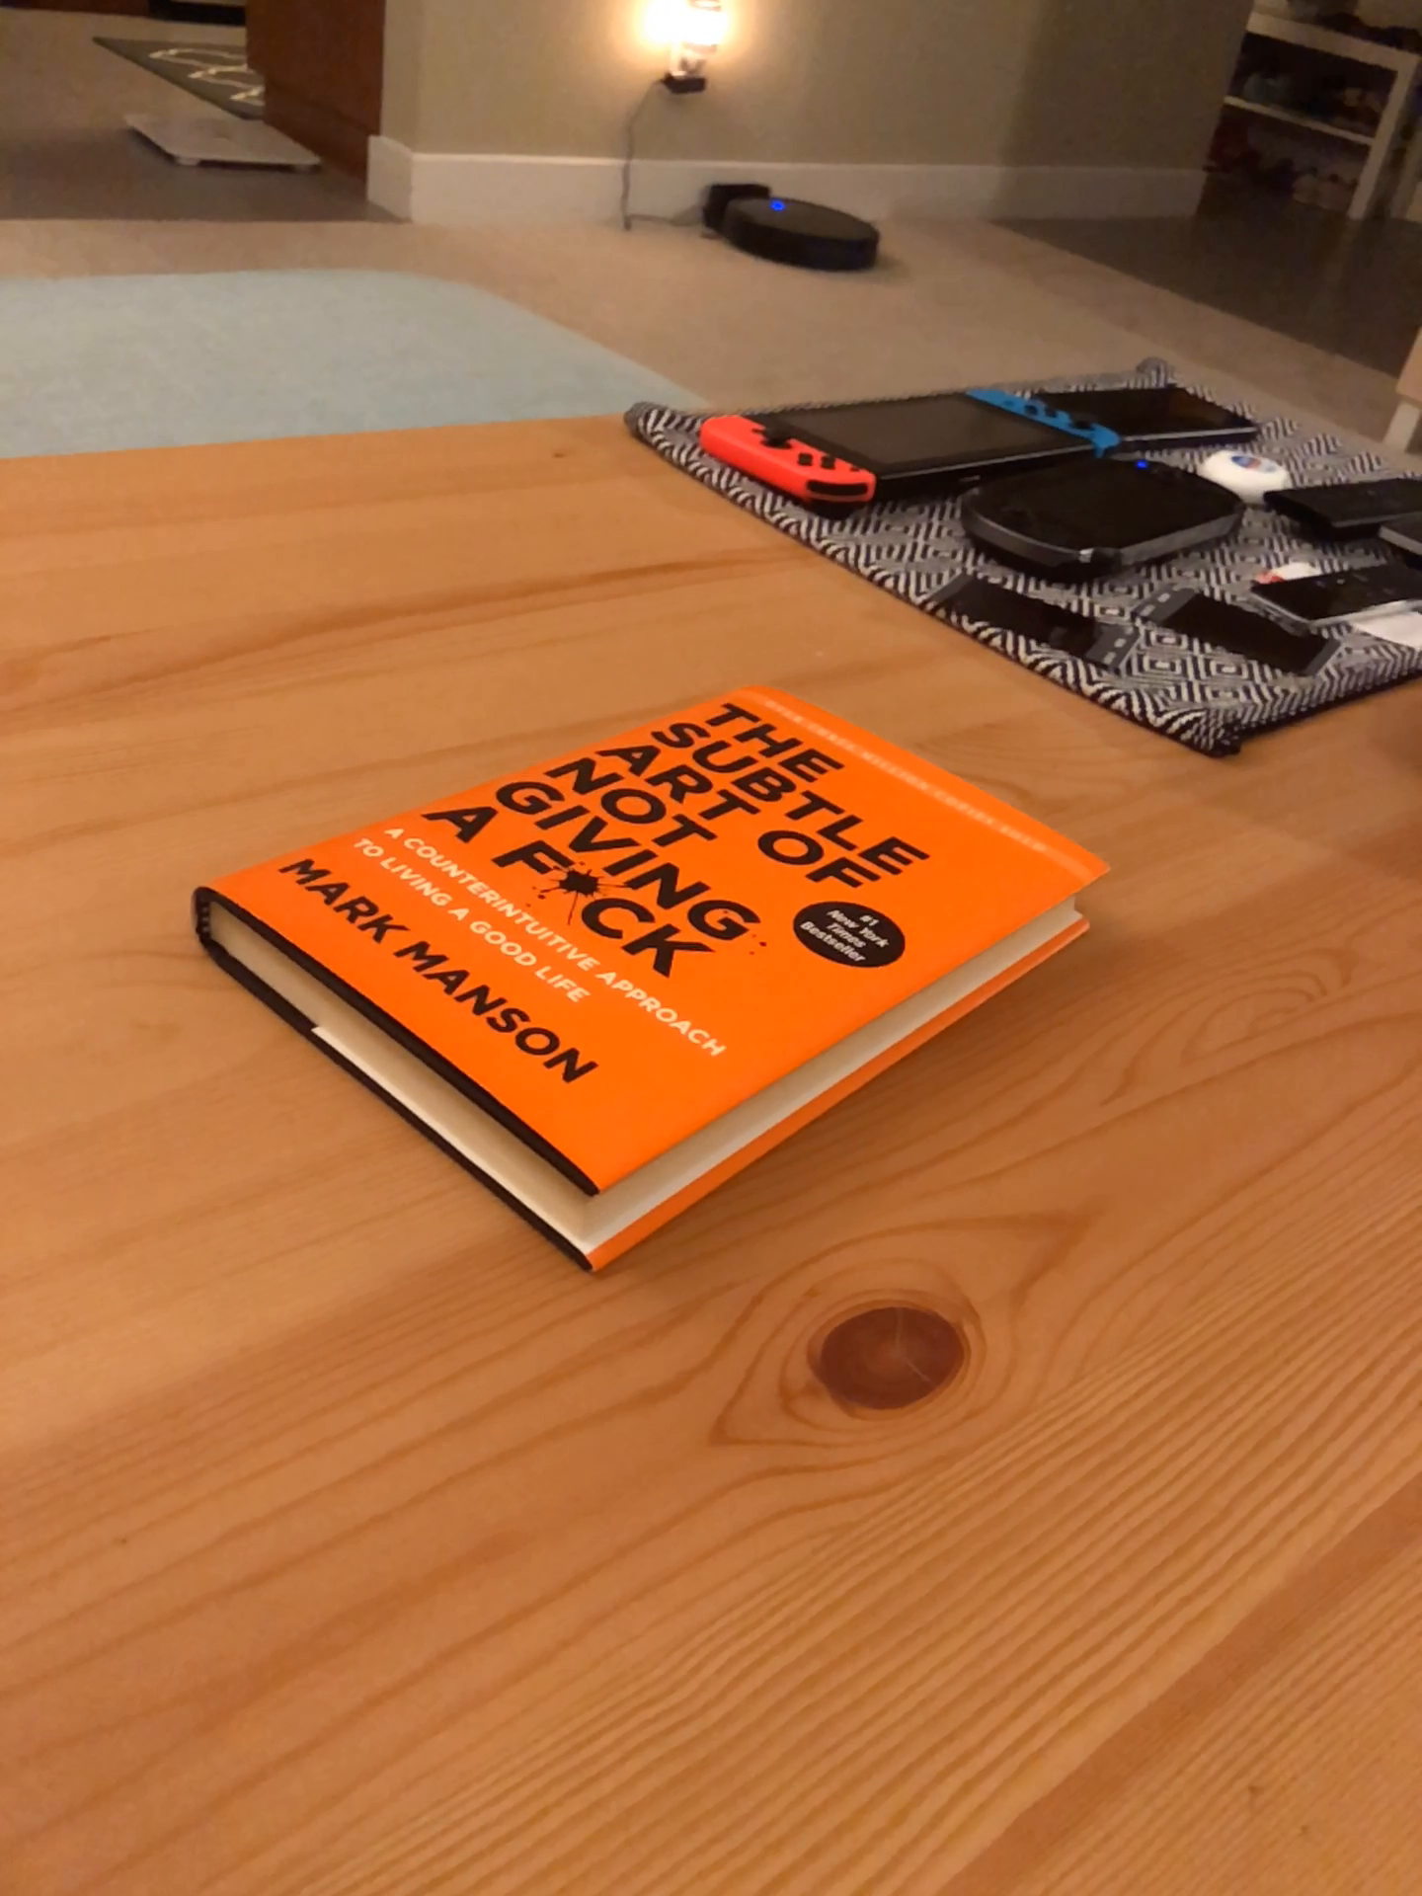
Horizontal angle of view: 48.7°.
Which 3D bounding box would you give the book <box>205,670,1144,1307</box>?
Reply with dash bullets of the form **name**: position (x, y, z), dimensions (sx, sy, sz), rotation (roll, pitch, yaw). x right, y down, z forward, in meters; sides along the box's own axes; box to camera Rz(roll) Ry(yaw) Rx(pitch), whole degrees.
- **book**: position (-0.003, -0.009, 0.455), dimensions (0.160, 0.030, 0.221), rotation (33, 42, 31)
